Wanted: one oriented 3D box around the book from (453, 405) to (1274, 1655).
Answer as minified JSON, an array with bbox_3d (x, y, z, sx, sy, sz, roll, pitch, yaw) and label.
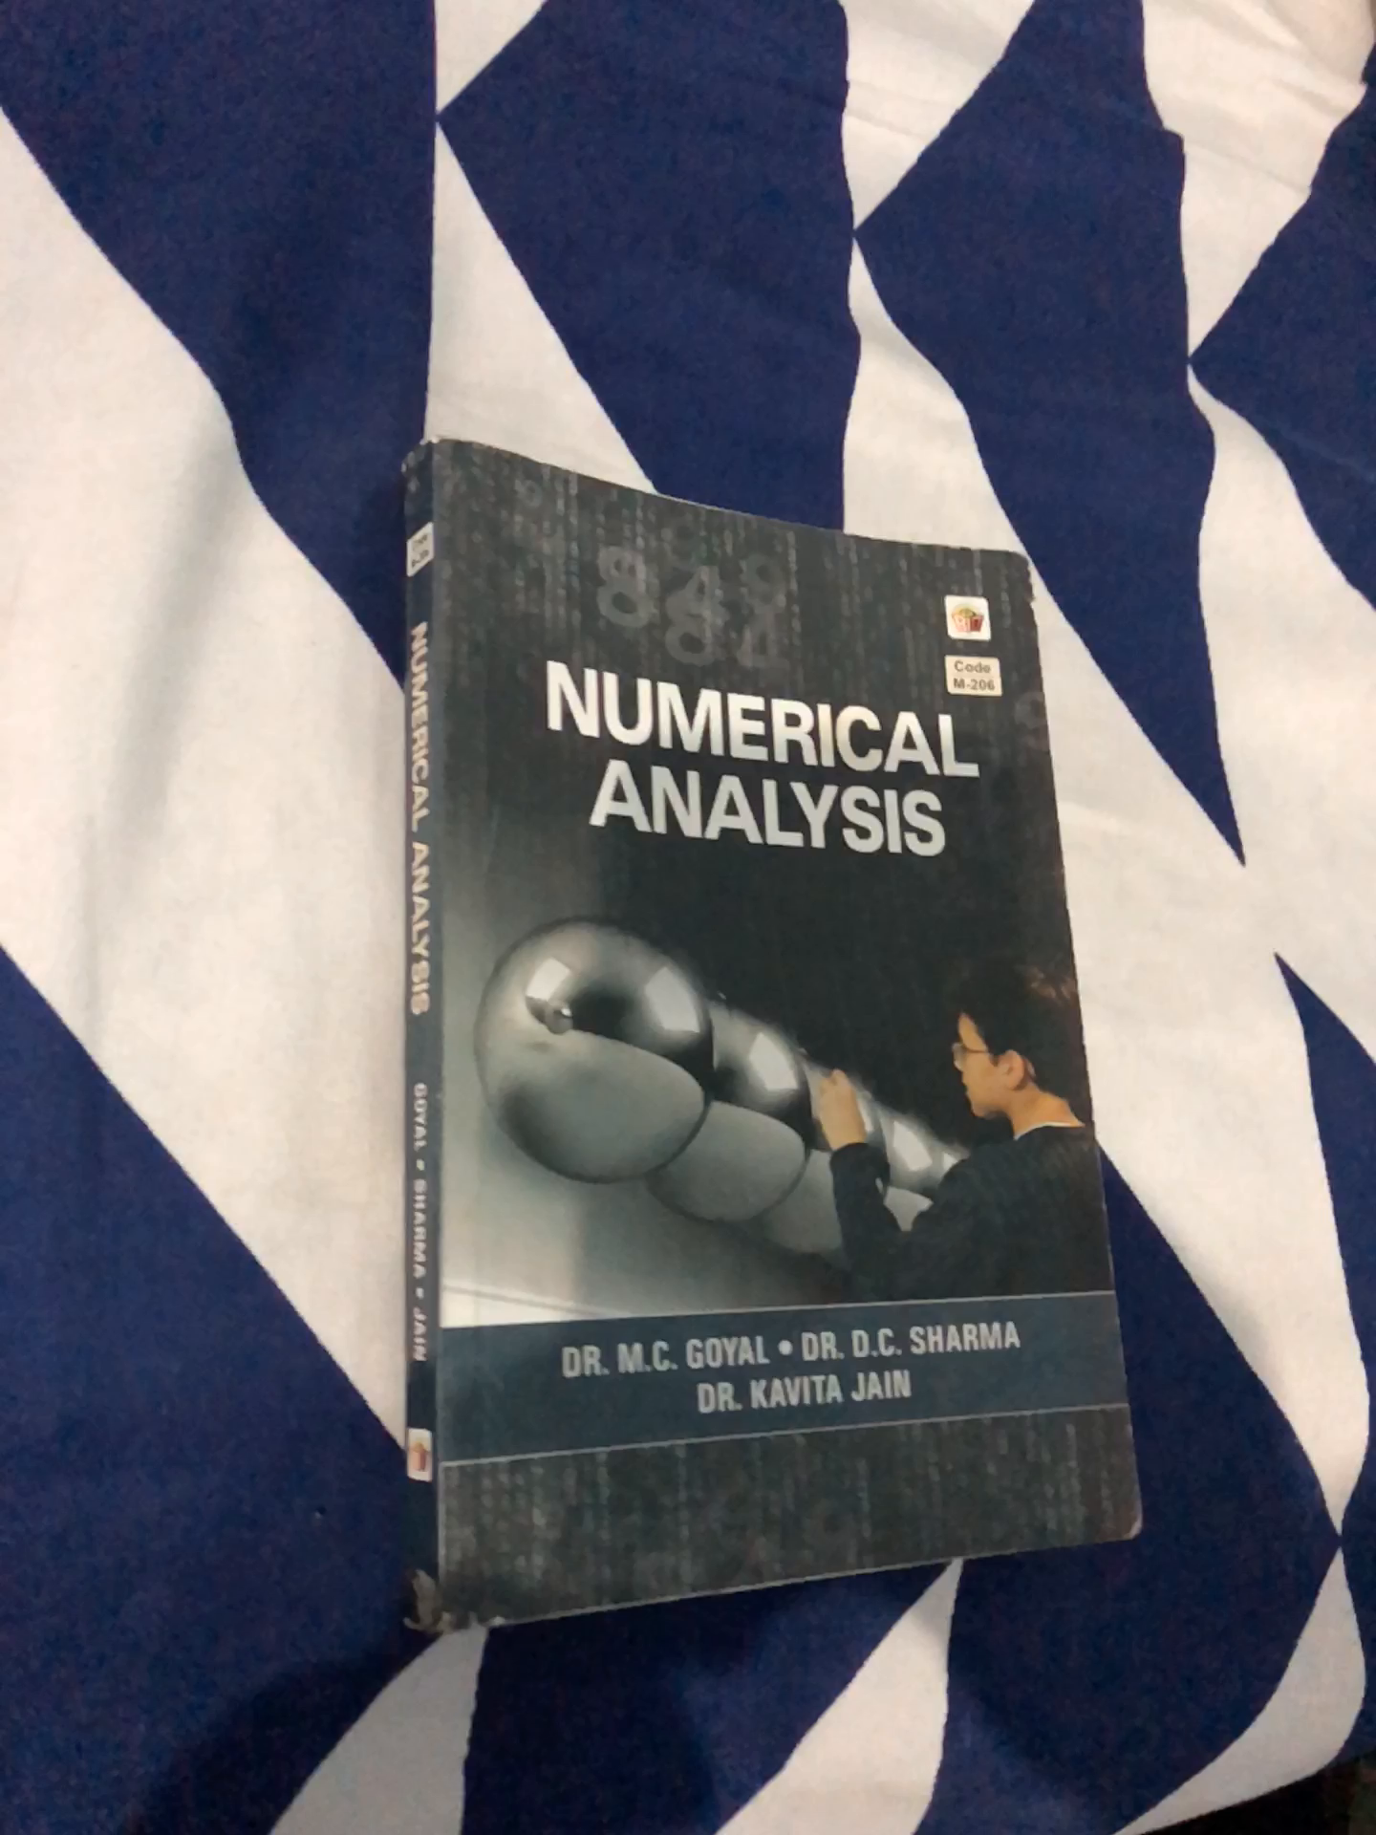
[{"bbox_3d":[0.031,0.016,0.275,0.140,0.030,0.190,4,77,-26],"label":"book"}]
